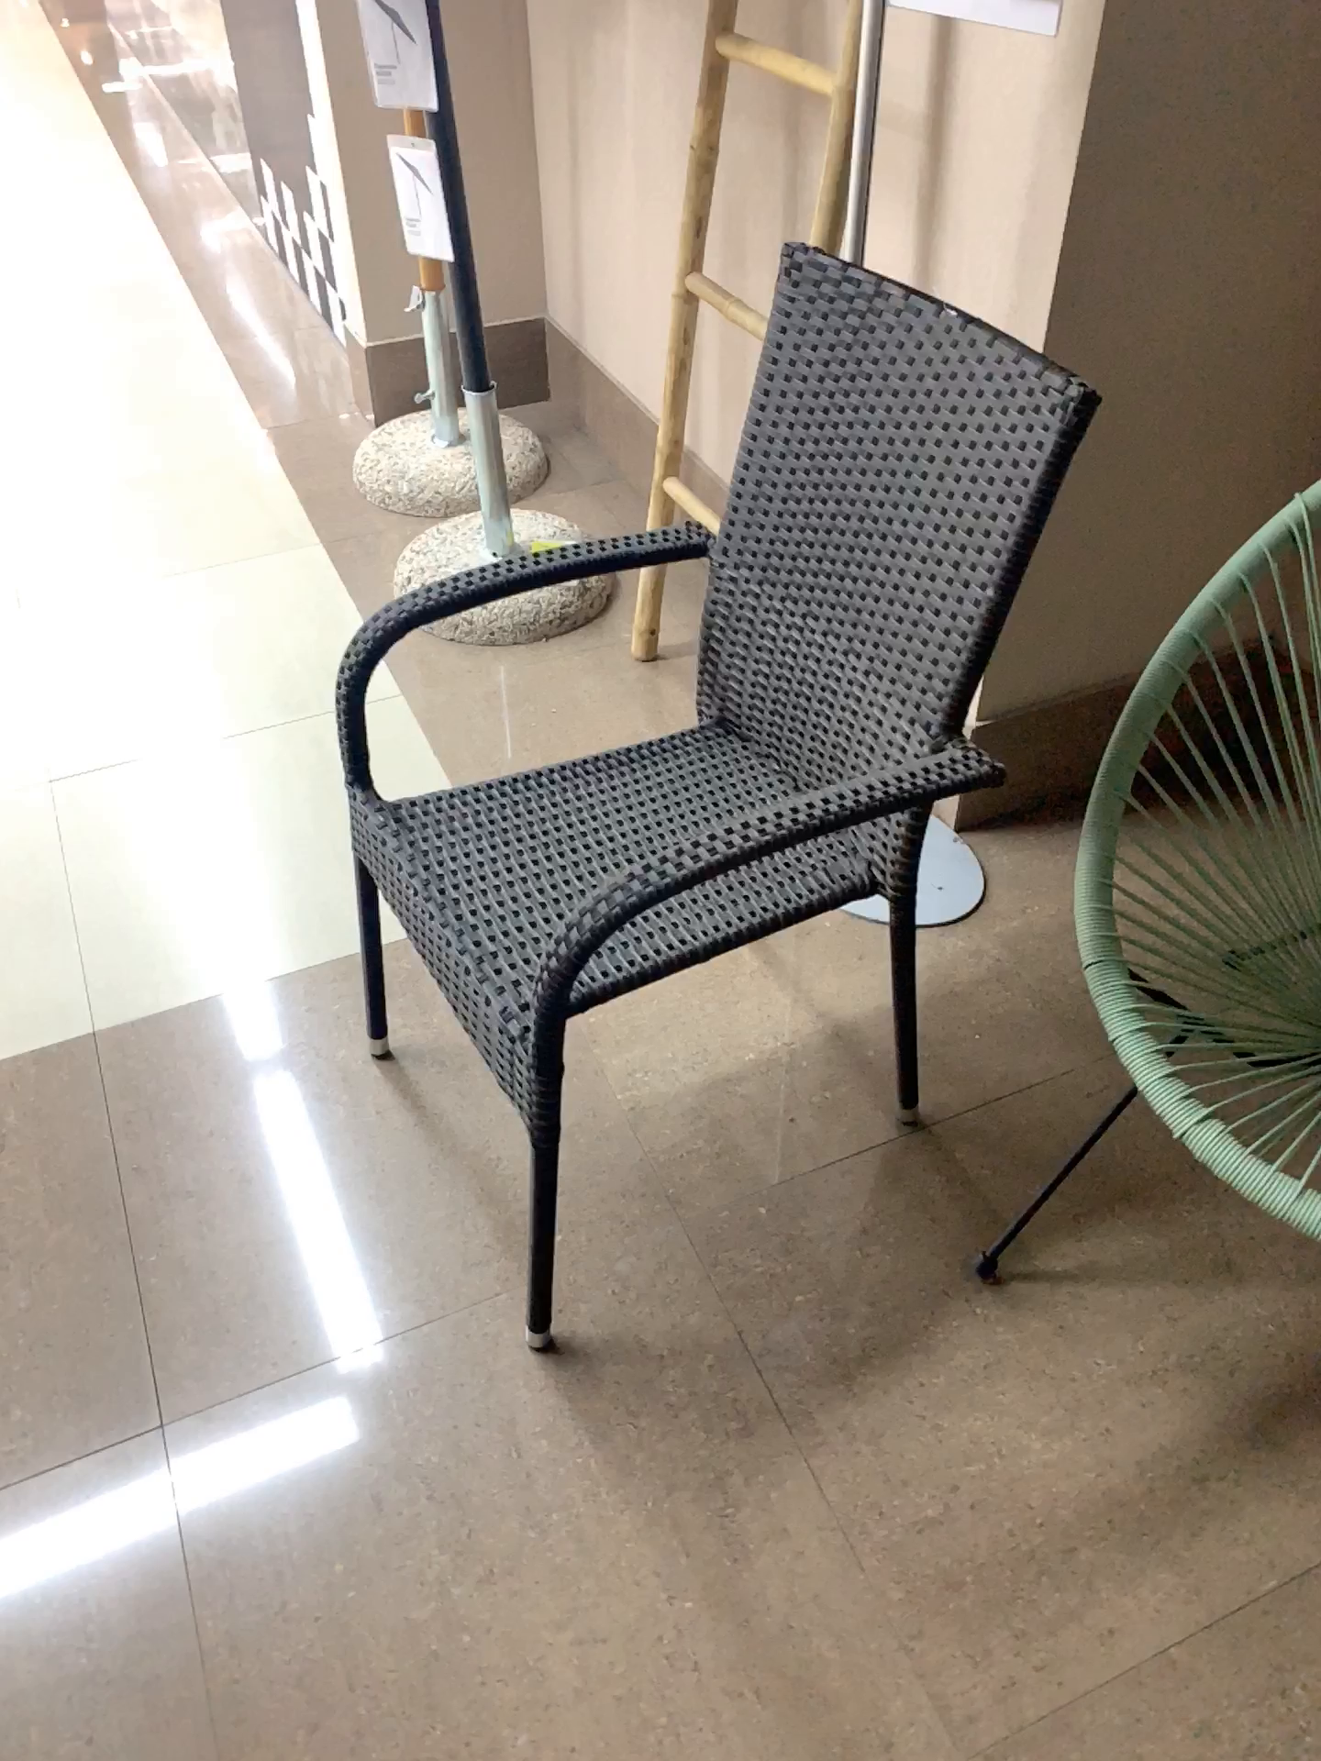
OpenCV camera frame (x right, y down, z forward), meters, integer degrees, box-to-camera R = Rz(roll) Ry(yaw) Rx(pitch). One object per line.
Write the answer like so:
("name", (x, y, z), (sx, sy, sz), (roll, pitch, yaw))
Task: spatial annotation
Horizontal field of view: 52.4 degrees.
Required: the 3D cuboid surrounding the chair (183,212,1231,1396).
("chair", (0.013, -0.088, 1.474), (0.680, 0.955, 0.623), (-21, 46, -21))
